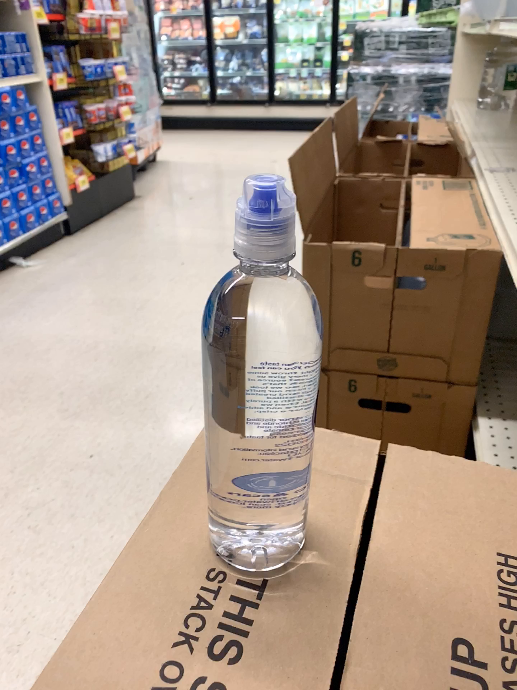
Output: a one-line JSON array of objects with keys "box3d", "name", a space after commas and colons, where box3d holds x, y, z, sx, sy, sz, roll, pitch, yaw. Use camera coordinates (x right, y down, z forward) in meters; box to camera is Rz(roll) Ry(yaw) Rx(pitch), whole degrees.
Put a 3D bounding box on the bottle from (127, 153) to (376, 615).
[{"box3d": [0.005, 0.027, 0.314, 0.090, 0.249, 0.090, -1, 30, 1], "name": "bottle"}]
